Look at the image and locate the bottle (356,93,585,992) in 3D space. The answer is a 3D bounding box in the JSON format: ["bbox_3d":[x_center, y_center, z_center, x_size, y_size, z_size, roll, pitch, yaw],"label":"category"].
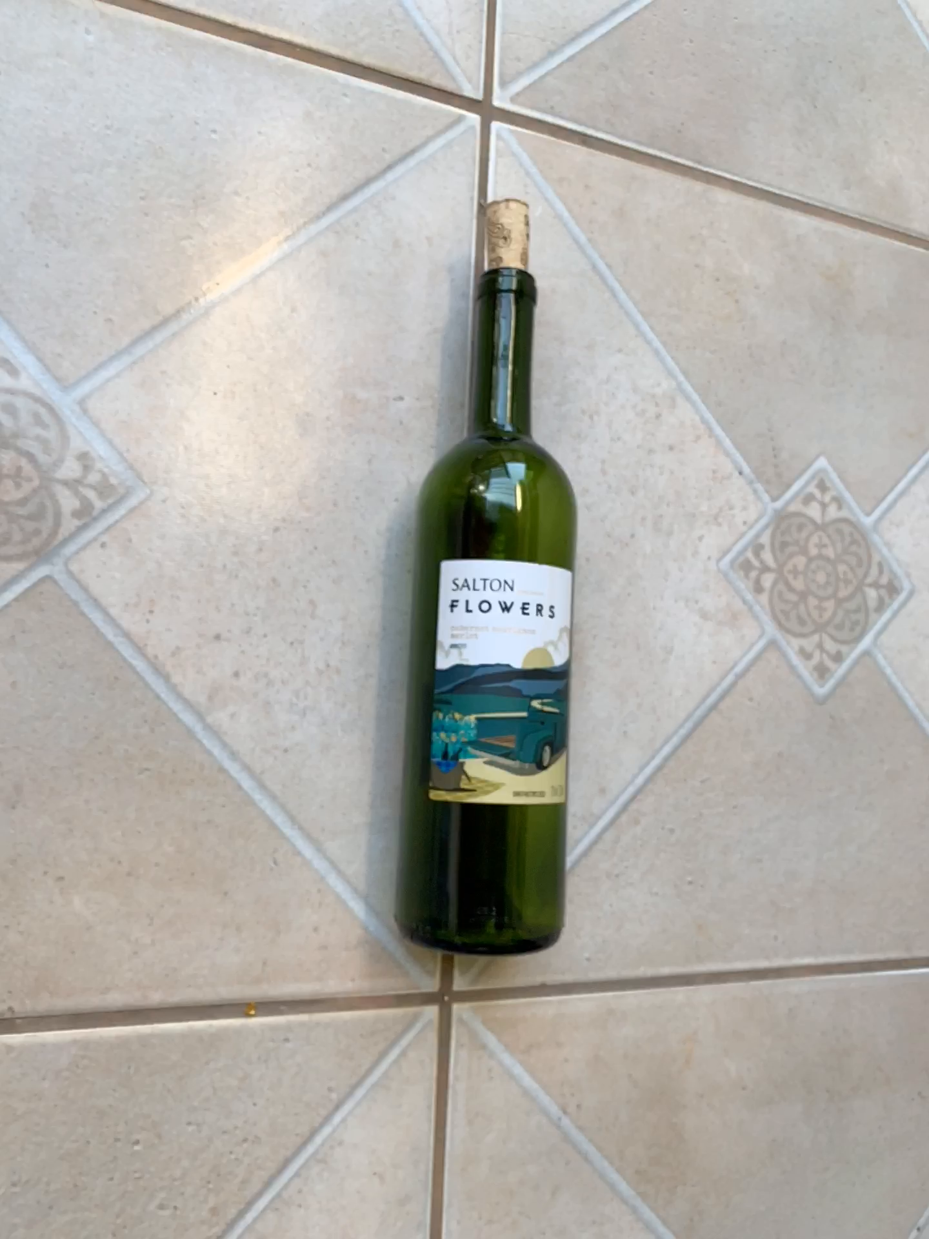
[{"bbox_3d":[0.001,-0.032,0.421,0.080,0.080,0.350,1,86,-14],"label":"bottle"}]
